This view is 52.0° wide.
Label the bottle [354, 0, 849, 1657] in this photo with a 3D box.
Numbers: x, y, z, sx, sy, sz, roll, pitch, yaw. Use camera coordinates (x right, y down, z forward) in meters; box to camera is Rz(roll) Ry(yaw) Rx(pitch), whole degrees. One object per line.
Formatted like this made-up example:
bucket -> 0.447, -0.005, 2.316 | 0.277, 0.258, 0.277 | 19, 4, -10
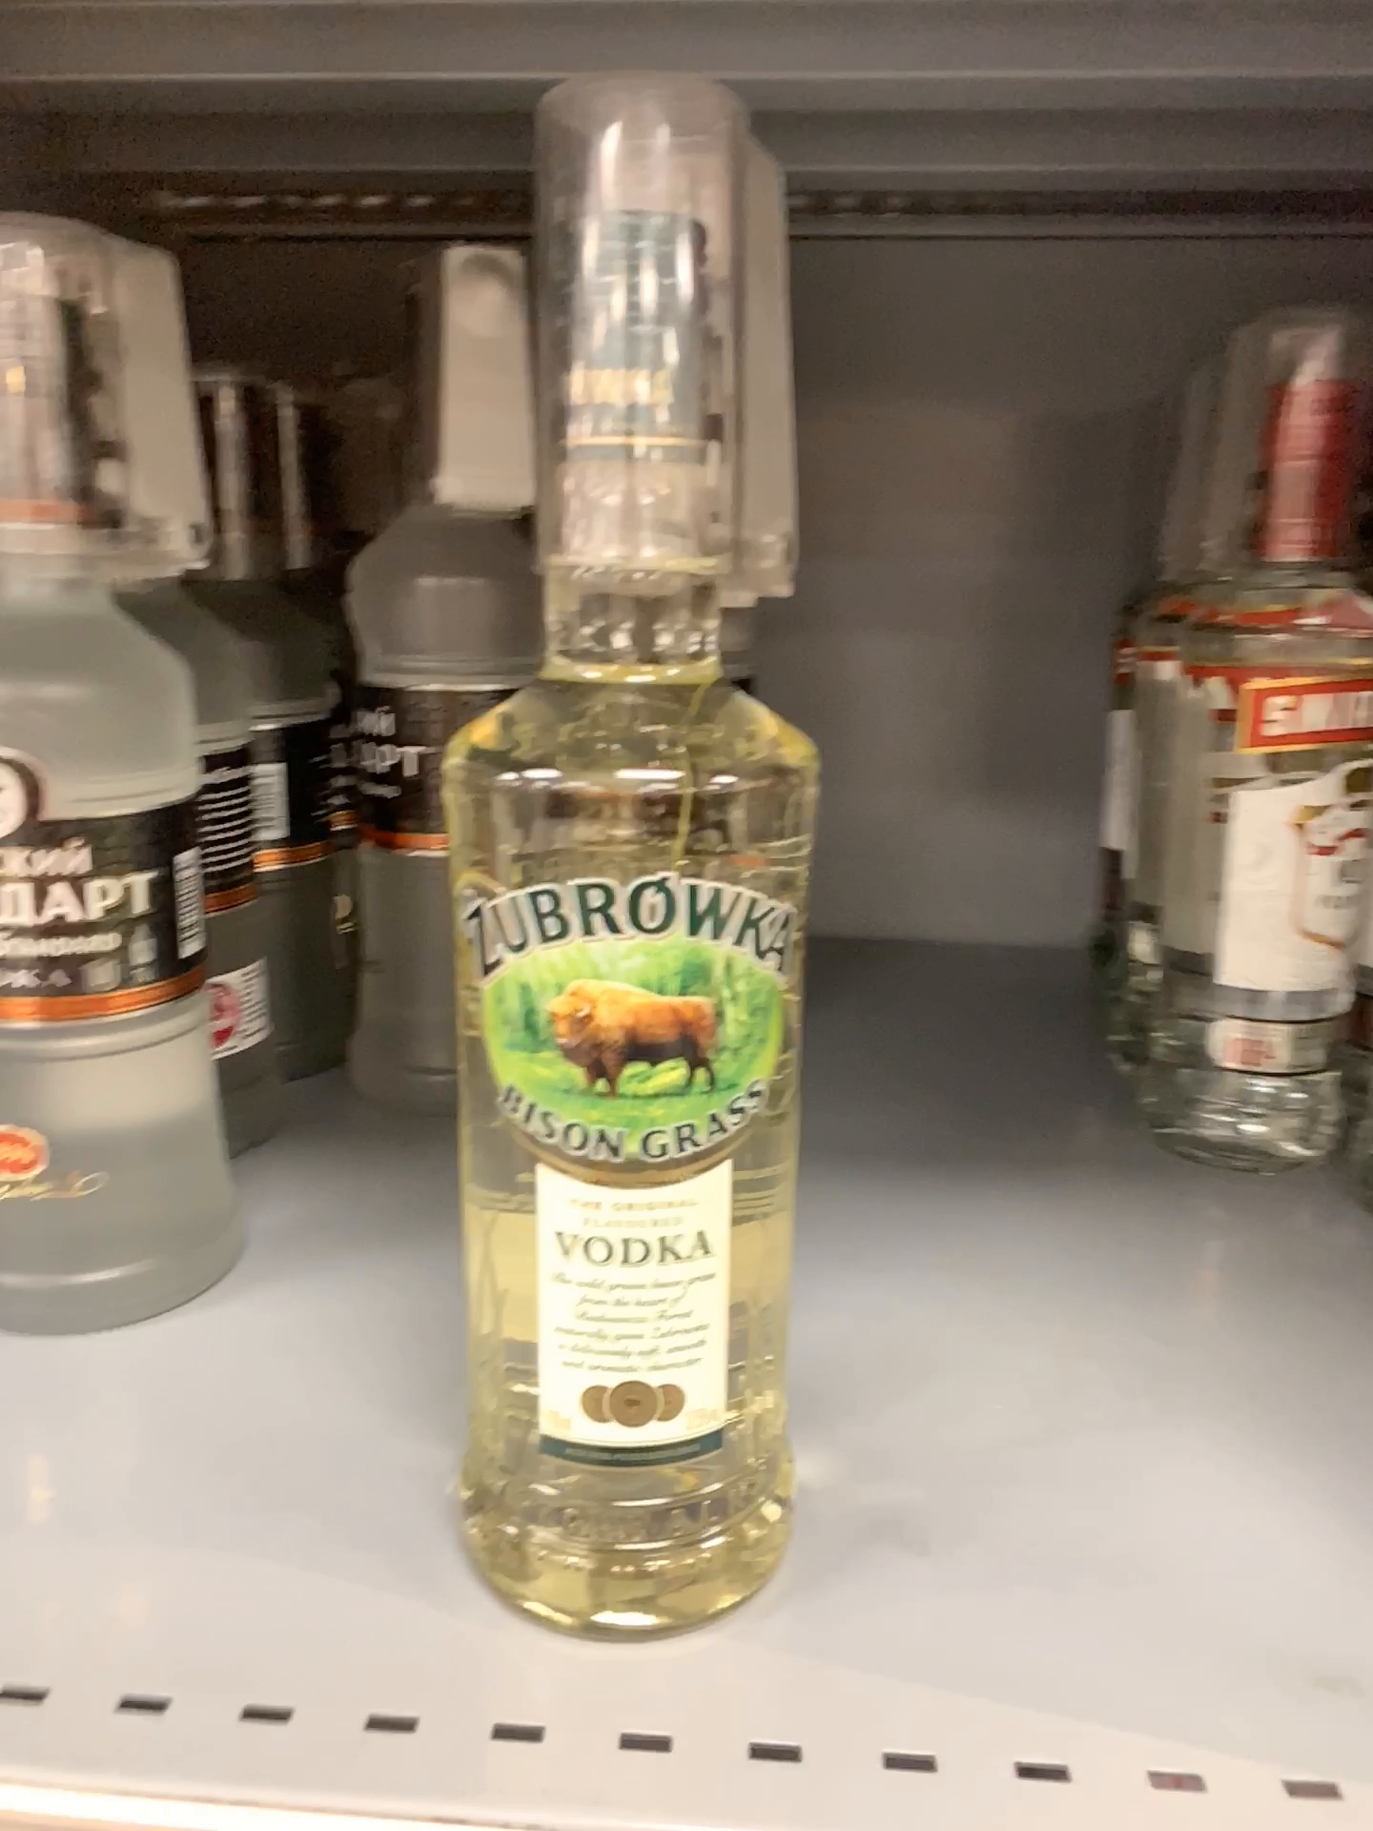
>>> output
bottle -> -0.014, -0.009, 0.283 | 0.076, 0.303, 0.069 | 1, 13, 3
